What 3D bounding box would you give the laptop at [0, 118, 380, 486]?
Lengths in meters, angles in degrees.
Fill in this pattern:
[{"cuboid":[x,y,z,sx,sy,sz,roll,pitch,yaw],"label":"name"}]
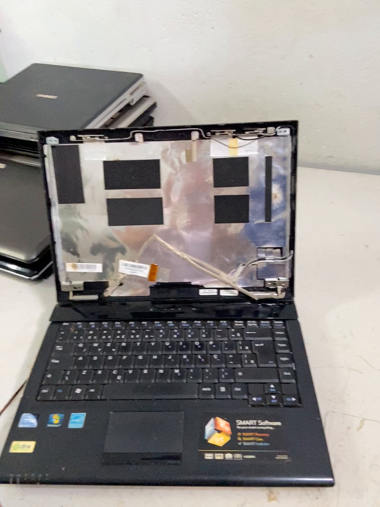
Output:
[{"cuboid":[-0.029,0.031,0.434,0.332,0.206,0.337,-2,42,5],"label":"laptop"}]
